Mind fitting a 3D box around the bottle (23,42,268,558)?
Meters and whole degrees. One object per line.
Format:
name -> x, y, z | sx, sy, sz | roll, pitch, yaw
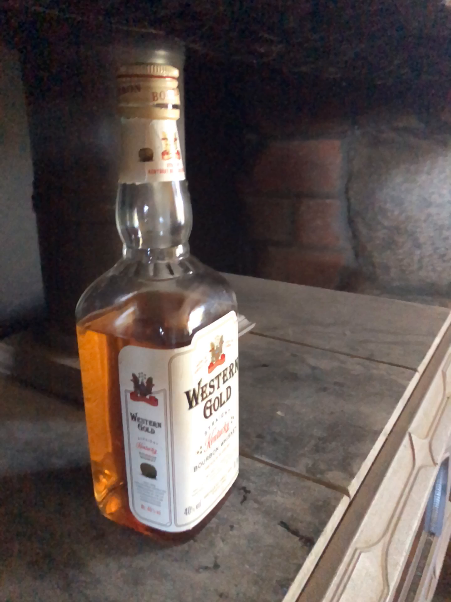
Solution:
bottle -> -0.033, 0.001, 0.284 | 0.080, 0.249, 0.091 | 10, 22, 29
